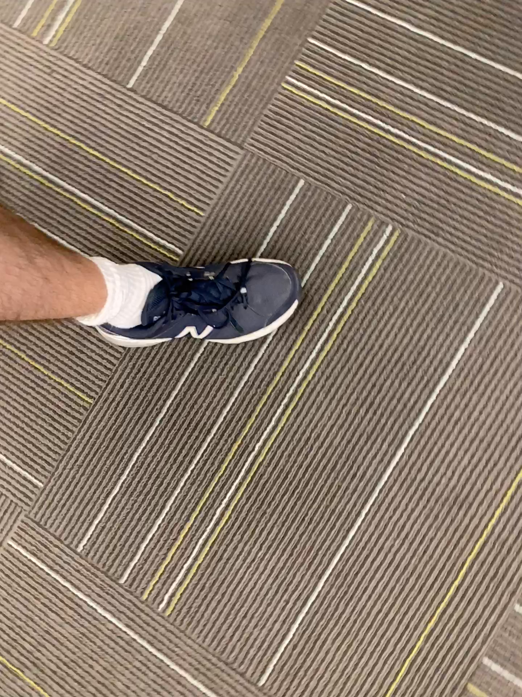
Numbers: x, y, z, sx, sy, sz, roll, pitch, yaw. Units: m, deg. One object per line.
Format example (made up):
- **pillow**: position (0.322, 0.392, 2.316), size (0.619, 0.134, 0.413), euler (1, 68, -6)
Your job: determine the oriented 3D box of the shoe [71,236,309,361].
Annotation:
- **shoe**: position (-0.096, -0.062, 0.731), size (0.310, 0.070, 0.130), euler (-5, 84, 9)
